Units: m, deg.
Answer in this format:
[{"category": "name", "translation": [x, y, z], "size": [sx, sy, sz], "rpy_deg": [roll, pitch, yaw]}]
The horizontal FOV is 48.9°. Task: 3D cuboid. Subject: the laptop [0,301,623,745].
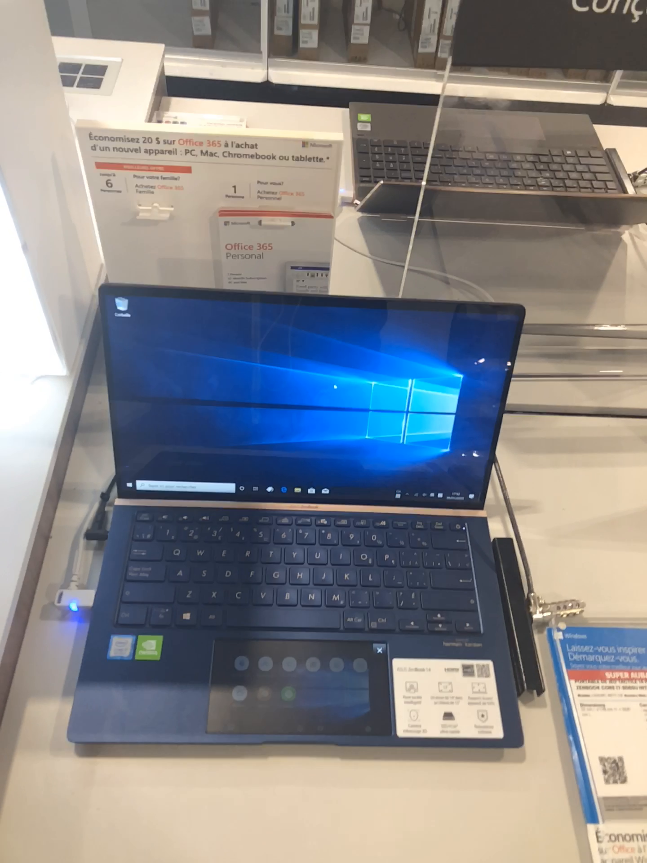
[{"category": "laptop", "translation": [-0.012, 0.063, 0.502], "size": [0.308, 0.179, 0.254], "rpy_deg": [2, 50, -4]}]
